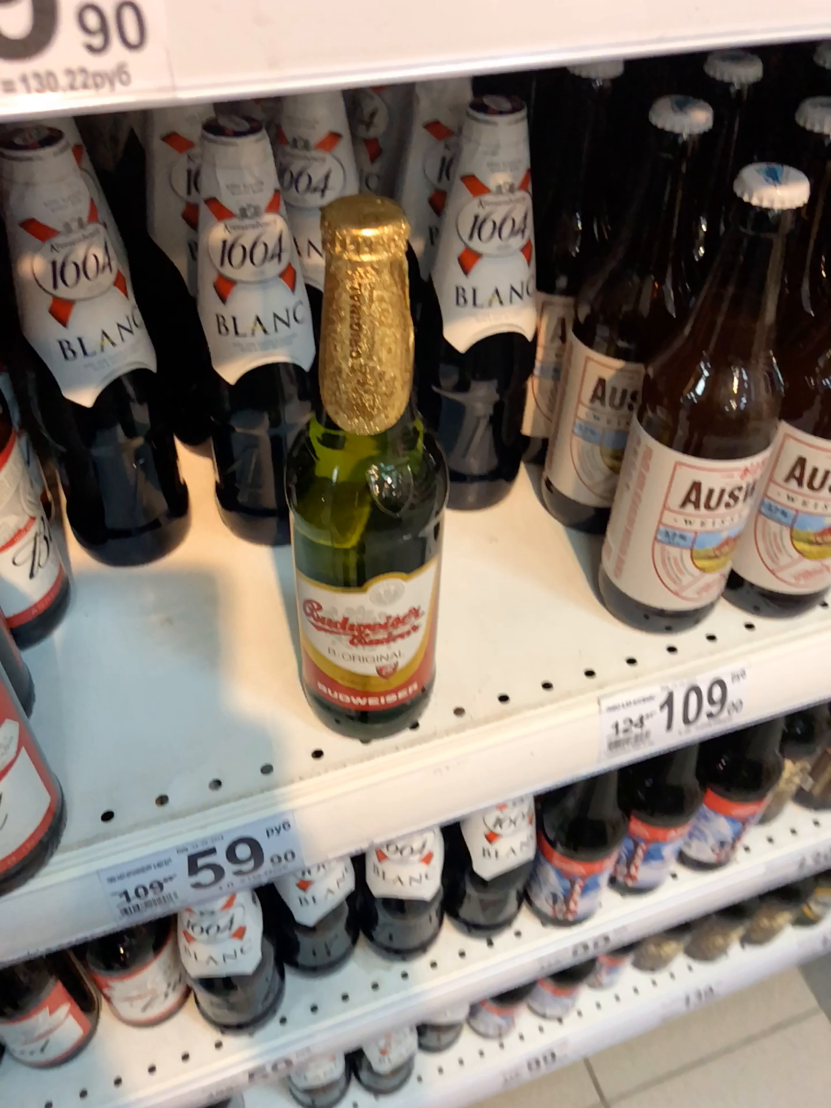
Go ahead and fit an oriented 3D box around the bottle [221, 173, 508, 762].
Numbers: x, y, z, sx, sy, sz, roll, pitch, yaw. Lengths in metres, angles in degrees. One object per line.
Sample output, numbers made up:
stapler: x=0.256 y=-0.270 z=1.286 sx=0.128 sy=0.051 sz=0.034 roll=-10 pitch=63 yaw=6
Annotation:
bottle: x=-0.019 y=-0.014 z=0.374 sx=0.080 sy=0.255 sz=0.070 roll=-1 pitch=47 yaw=-4
